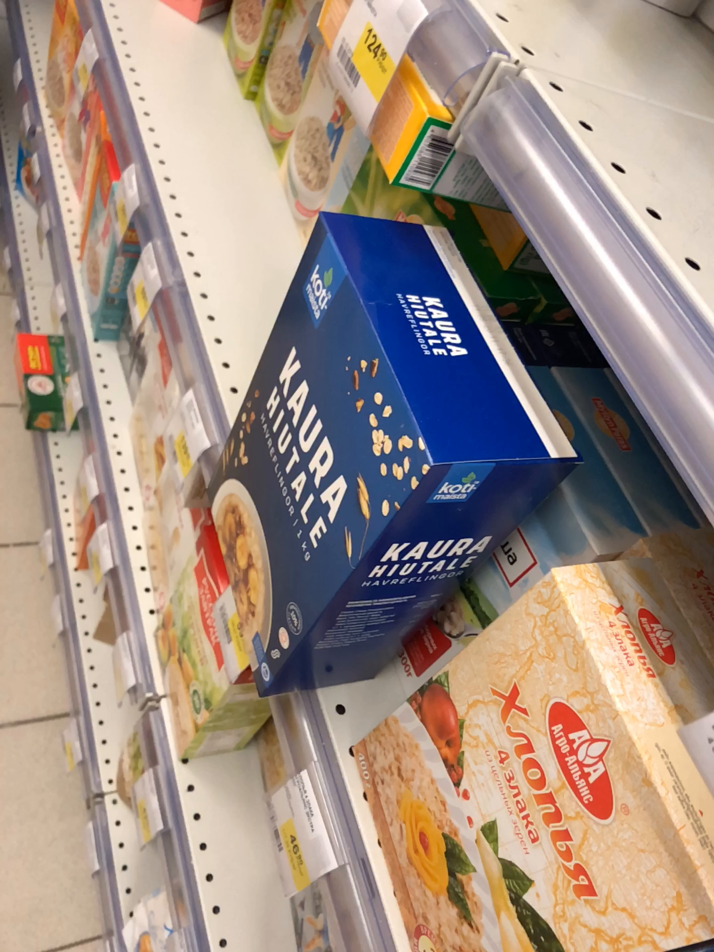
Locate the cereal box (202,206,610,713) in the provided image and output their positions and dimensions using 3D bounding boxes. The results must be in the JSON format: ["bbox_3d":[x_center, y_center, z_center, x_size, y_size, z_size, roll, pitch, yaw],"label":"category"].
[{"bbox_3d":[0.001,0.004,0.422,0.080,0.229,0.150,-2,55,-30],"label":"cereal box"}]
